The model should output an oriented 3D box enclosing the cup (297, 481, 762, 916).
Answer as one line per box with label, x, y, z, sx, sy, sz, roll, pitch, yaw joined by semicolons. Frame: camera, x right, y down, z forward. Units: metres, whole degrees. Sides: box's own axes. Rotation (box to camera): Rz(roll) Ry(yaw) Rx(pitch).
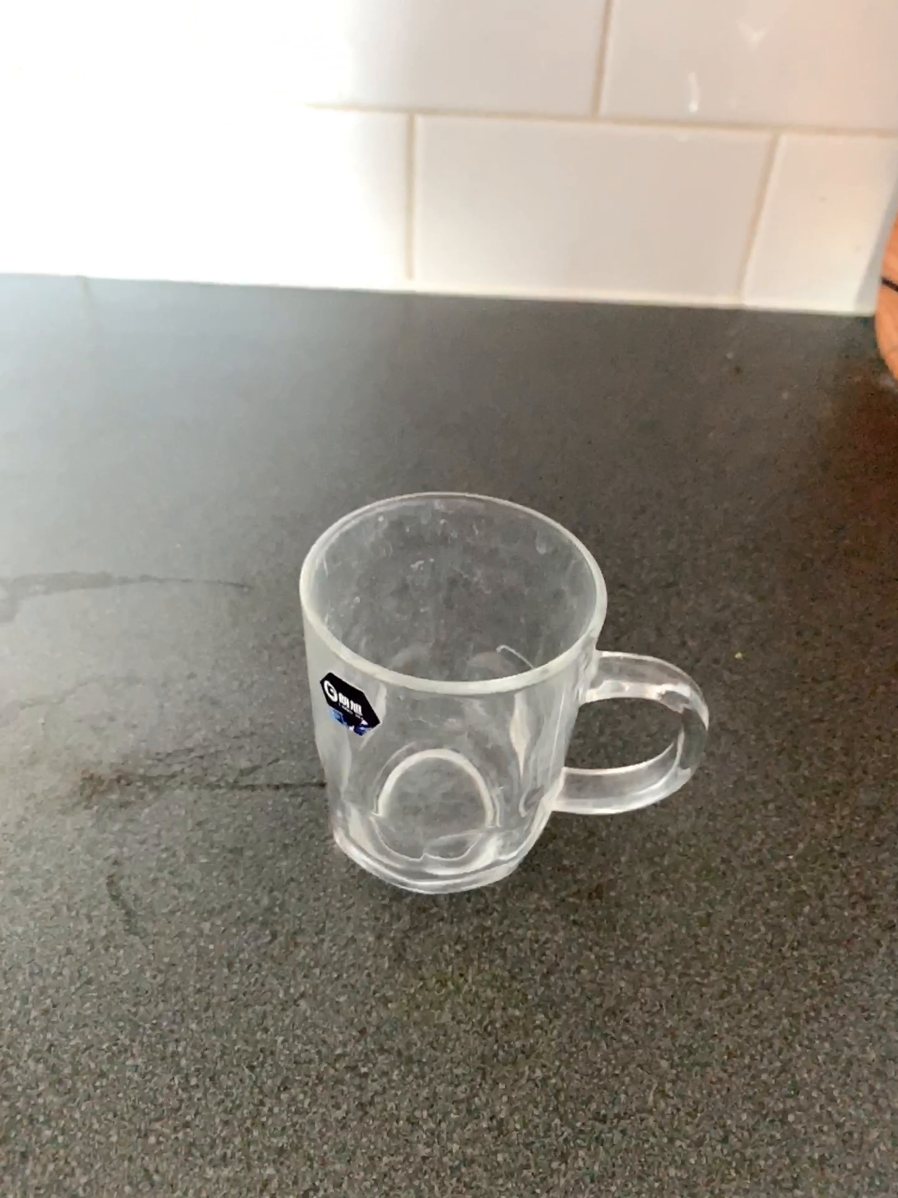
cup;0.013;0.026;0.254;0.100;0.089;0.071;-1;40;-6
